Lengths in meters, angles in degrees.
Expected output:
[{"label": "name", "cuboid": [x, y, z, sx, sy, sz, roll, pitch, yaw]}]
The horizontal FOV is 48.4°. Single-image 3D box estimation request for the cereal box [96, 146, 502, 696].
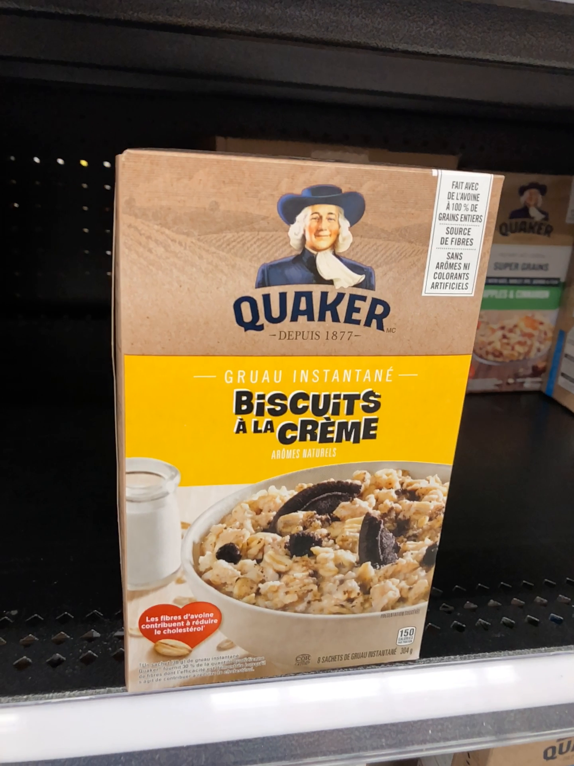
[{"label": "cereal box", "cuboid": [-0.007, 0.012, 0.253, 0.120, 0.189, 0.080, 0, 20, -12]}]
